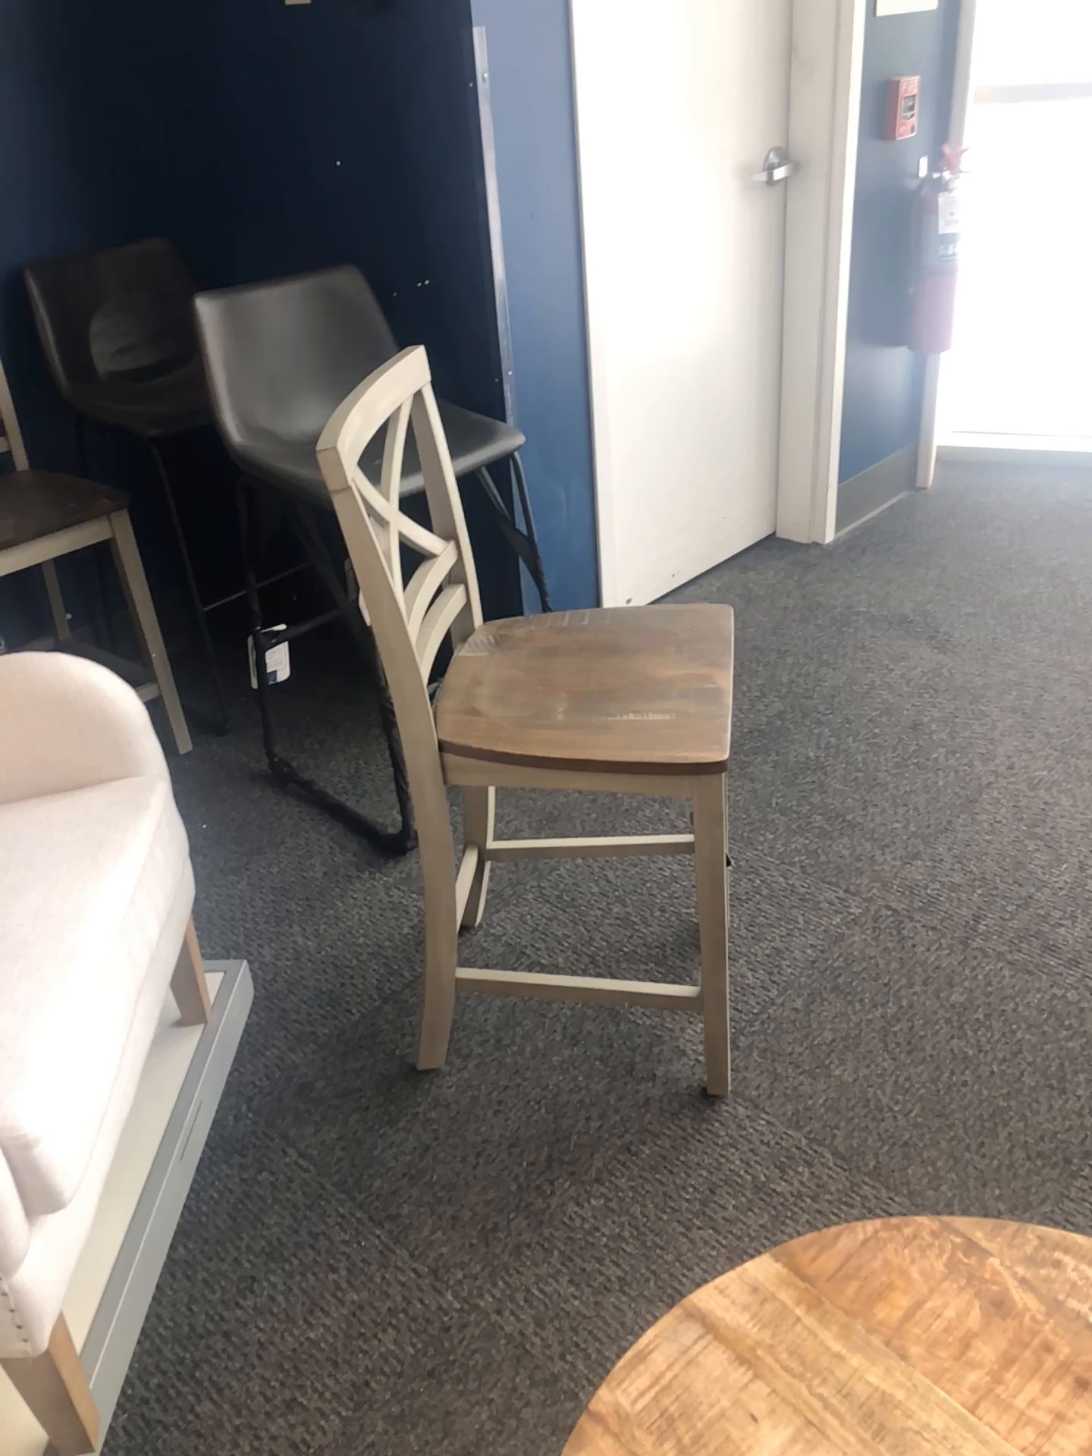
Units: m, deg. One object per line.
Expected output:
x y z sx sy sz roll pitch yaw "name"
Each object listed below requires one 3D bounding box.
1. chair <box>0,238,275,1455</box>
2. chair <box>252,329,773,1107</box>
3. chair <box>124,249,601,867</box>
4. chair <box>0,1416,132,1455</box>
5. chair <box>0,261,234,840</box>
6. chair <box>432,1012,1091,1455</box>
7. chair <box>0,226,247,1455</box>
-0.541 0.203 0.821 0.484 0.915 0.381 -6 31 -1 "chair"
0.024 -0.001 1.643 0.534 0.934 0.472 0 32 9 "chair"
-0.296 -0.343 2.254 0.535 0.934 0.541 21 40 35 "chair"
-0.576 0.849 0.450 0.575 0.944 0.492 -12 32 -11 "chair"
-1.060 -0.368 2.371 0.470 0.934 0.536 -29 39 -34 "chair"
0.334 0.684 0.921 0.685 0.537 0.522 -13 32 -13 "chair"
-0.797 0.145 1.151 0.704 1.014 0.693 -6 31 -1 "chair"
